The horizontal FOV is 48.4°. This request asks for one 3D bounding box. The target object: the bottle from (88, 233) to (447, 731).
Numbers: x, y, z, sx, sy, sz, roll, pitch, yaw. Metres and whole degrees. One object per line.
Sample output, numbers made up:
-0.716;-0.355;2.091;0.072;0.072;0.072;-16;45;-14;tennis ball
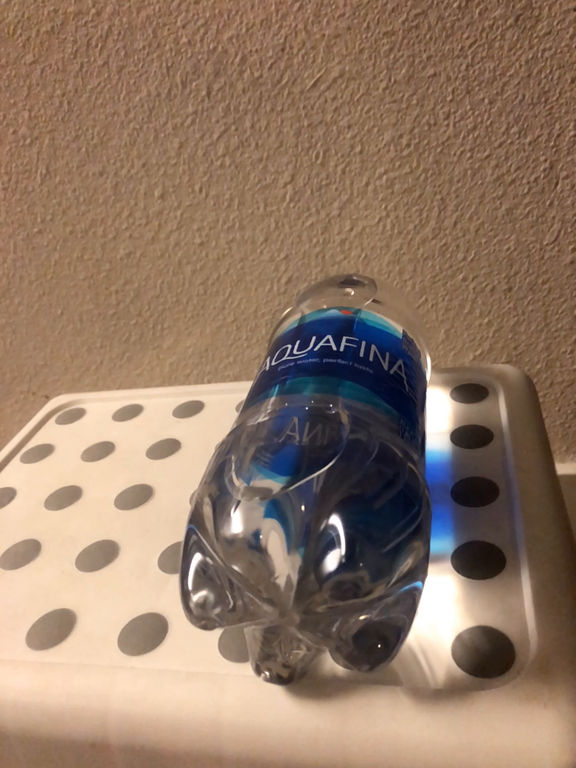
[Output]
0.022;0.012;0.295;0.090;0.080;0.251;-4;28;17;bottle
